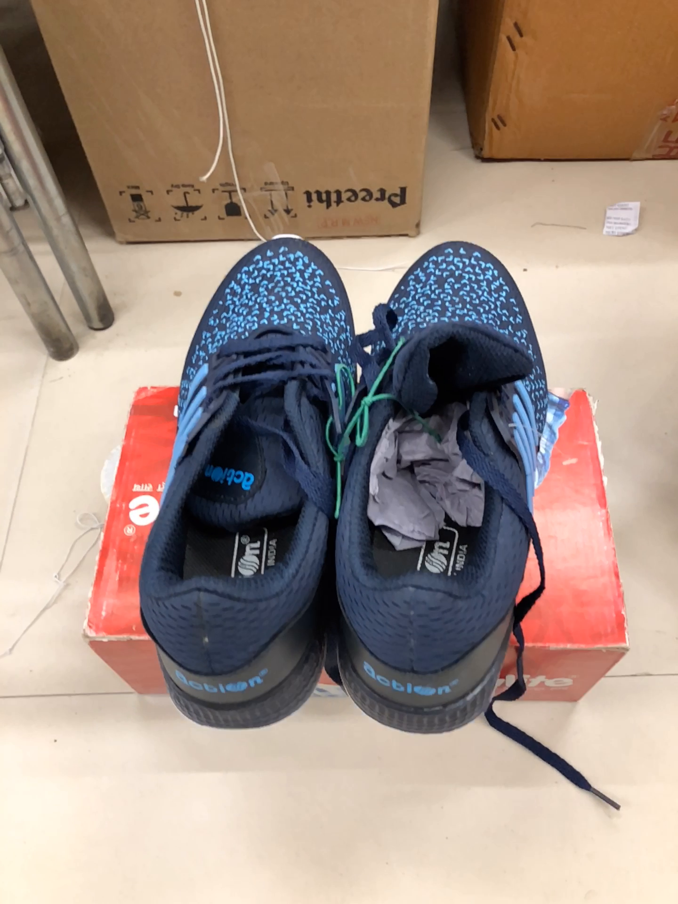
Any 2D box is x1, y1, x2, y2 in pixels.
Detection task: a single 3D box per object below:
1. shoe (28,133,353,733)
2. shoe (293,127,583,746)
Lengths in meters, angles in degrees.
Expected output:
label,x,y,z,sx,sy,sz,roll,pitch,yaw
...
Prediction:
label,x,y,z,sx,sy,sz,roll,pitch,yaw
shoe,-0.046,-0.014,0.368,0.101,0.133,0.264,0,59,2
shoe,0.050,-0.014,0.365,0.093,0.133,0.264,6,59,5
